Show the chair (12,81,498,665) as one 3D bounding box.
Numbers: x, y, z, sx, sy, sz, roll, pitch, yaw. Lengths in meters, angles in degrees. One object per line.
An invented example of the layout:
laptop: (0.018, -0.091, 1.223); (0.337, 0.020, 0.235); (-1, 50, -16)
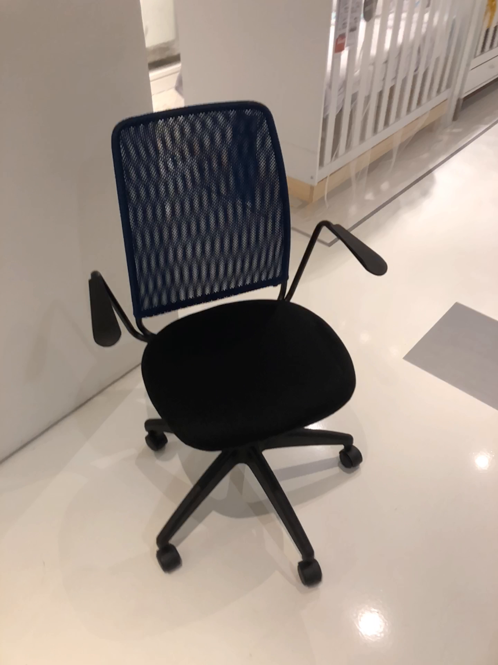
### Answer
chair: (-0.028, 0.081, 1.199); (0.661, 0.923, 0.704); (-14, 44, -15)
